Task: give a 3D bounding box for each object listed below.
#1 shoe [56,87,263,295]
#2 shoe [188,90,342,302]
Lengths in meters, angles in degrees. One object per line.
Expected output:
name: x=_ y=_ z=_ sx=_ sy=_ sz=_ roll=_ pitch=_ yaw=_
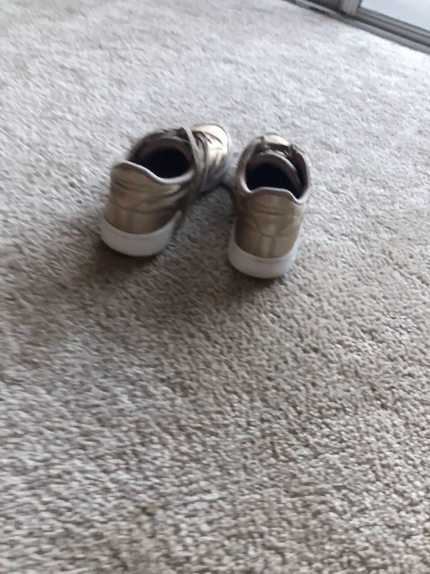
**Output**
shoe: x=-0.043 y=-0.123 z=0.522 sx=0.110 sy=0.070 sz=0.281 roll=20 pitch=43 yaw=7
shoe: x=0.067 y=-0.117 z=0.521 sx=0.110 sy=0.070 sz=0.281 roll=16 pitch=43 yaw=4
